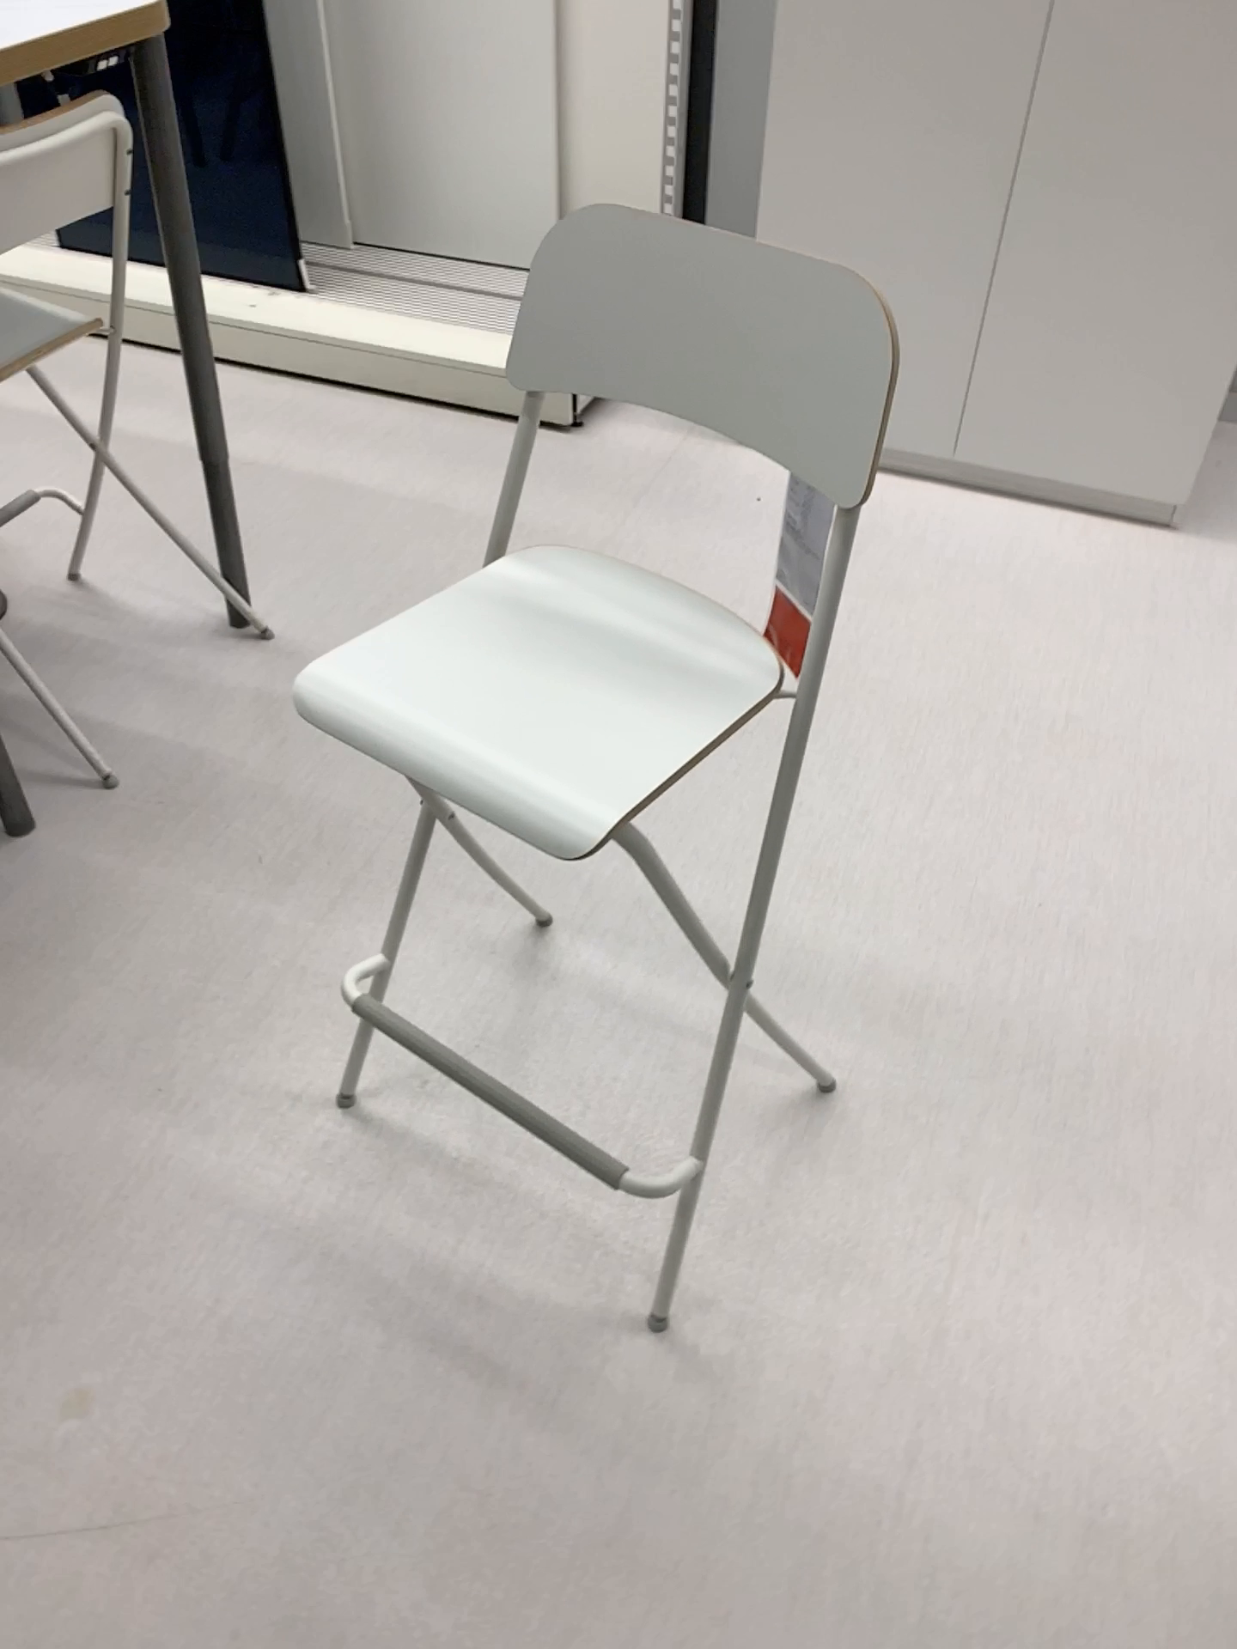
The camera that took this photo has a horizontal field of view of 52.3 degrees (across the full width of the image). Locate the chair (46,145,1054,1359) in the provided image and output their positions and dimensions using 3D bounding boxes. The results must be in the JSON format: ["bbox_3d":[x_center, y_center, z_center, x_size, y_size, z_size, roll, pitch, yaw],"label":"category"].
[{"bbox_3d":[-0.043,-0.037,1.224,0.521,0.936,0.501,28,50,24],"label":"chair"}]
